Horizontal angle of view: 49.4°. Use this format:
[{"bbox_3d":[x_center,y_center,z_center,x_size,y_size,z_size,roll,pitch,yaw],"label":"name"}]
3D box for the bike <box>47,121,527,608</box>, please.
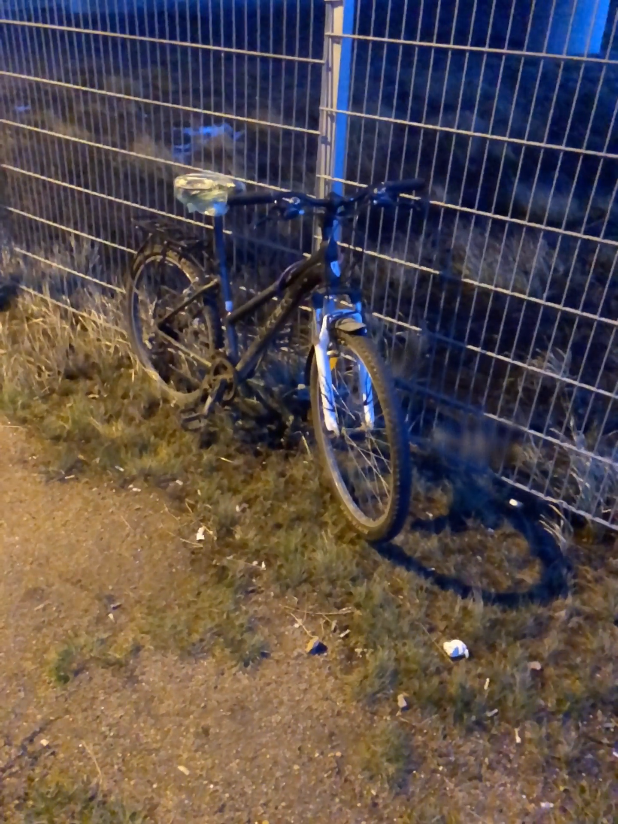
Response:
[{"bbox_3d":[-0.214,-0.318,2.169,0.571,0.947,1.589,-21,37,-33],"label":"bike"}]
